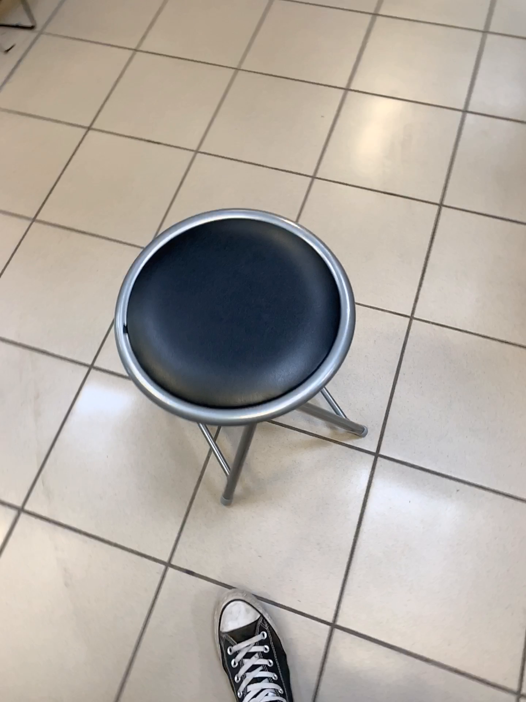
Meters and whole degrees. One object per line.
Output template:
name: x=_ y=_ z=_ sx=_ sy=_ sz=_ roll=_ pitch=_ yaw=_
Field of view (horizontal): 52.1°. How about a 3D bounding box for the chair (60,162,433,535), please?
chair: x=-0.020 y=0.029 z=0.834 sx=0.334 sy=0.402 sz=0.328 roll=-29 pitch=67 yaw=-9
